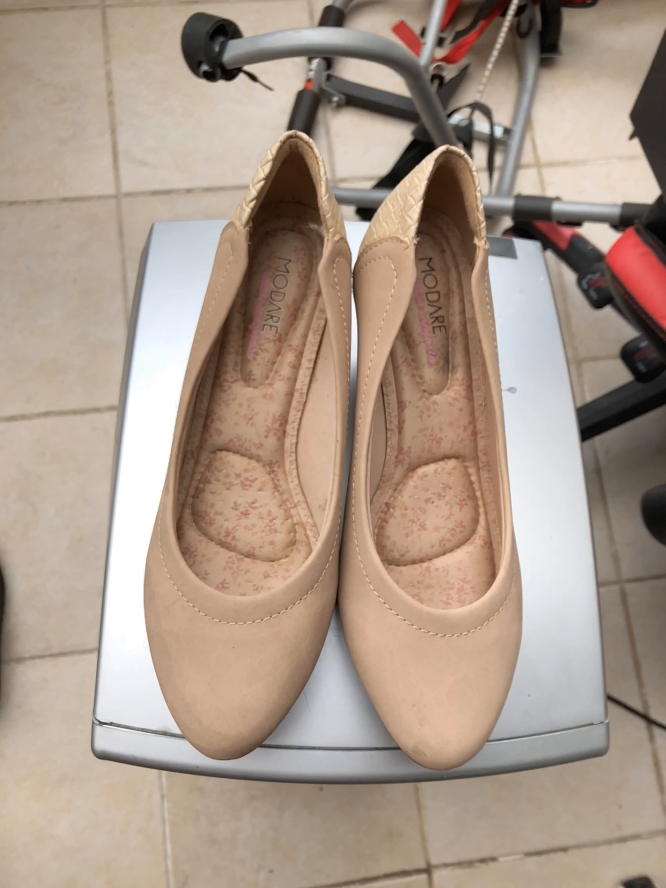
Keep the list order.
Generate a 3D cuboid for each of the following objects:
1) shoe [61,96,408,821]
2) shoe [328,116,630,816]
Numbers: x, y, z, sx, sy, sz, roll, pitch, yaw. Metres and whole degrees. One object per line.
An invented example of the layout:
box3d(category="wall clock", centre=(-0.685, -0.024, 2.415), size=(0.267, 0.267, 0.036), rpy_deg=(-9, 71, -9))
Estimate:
box3d(category="shoe", centre=(-0.031, 0.005, 0.312), size=(0.090, 0.120, 0.244), rpy_deg=(6, 79, -2))
box3d(category="shoe", centre=(0.048, 0.009, 0.316), size=(0.090, 0.120, 0.244), rpy_deg=(1, 79, -3))
